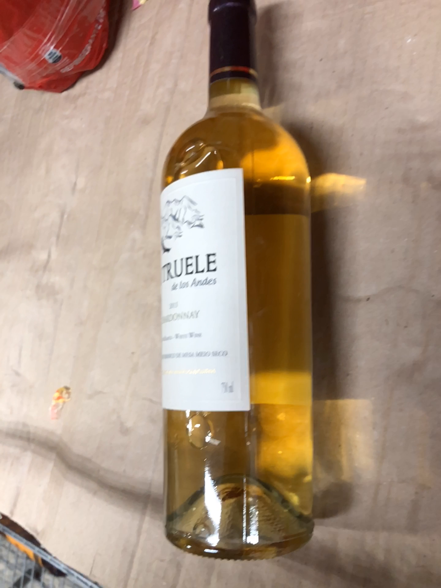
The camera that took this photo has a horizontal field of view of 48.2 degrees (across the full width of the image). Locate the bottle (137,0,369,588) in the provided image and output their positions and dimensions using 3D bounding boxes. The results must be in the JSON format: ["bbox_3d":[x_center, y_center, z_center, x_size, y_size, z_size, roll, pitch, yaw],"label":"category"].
[{"bbox_3d":[0.012,-0.032,0.254,0.080,0.070,0.300,-14,72,51],"label":"bottle"}]
